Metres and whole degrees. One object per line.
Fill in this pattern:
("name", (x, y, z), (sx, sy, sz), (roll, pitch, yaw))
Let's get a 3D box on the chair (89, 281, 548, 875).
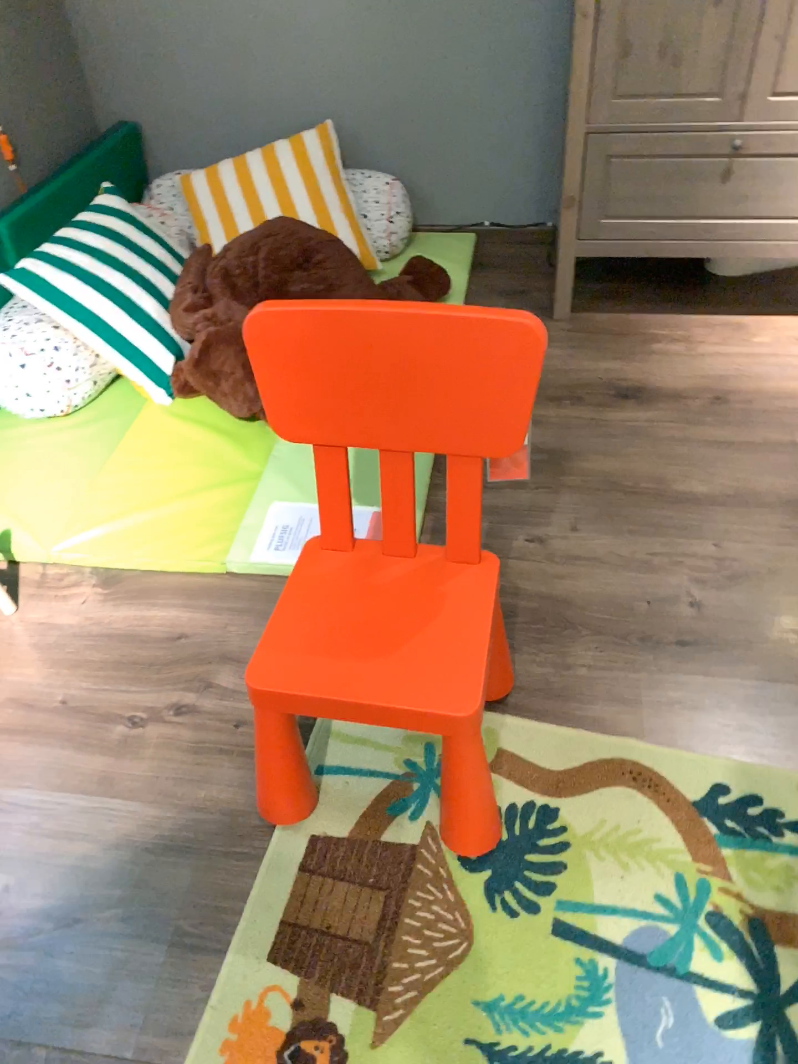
("chair", (-0.033, 0.060, 1.078), (0.380, 0.598, 0.461), (6, 43, 12))
